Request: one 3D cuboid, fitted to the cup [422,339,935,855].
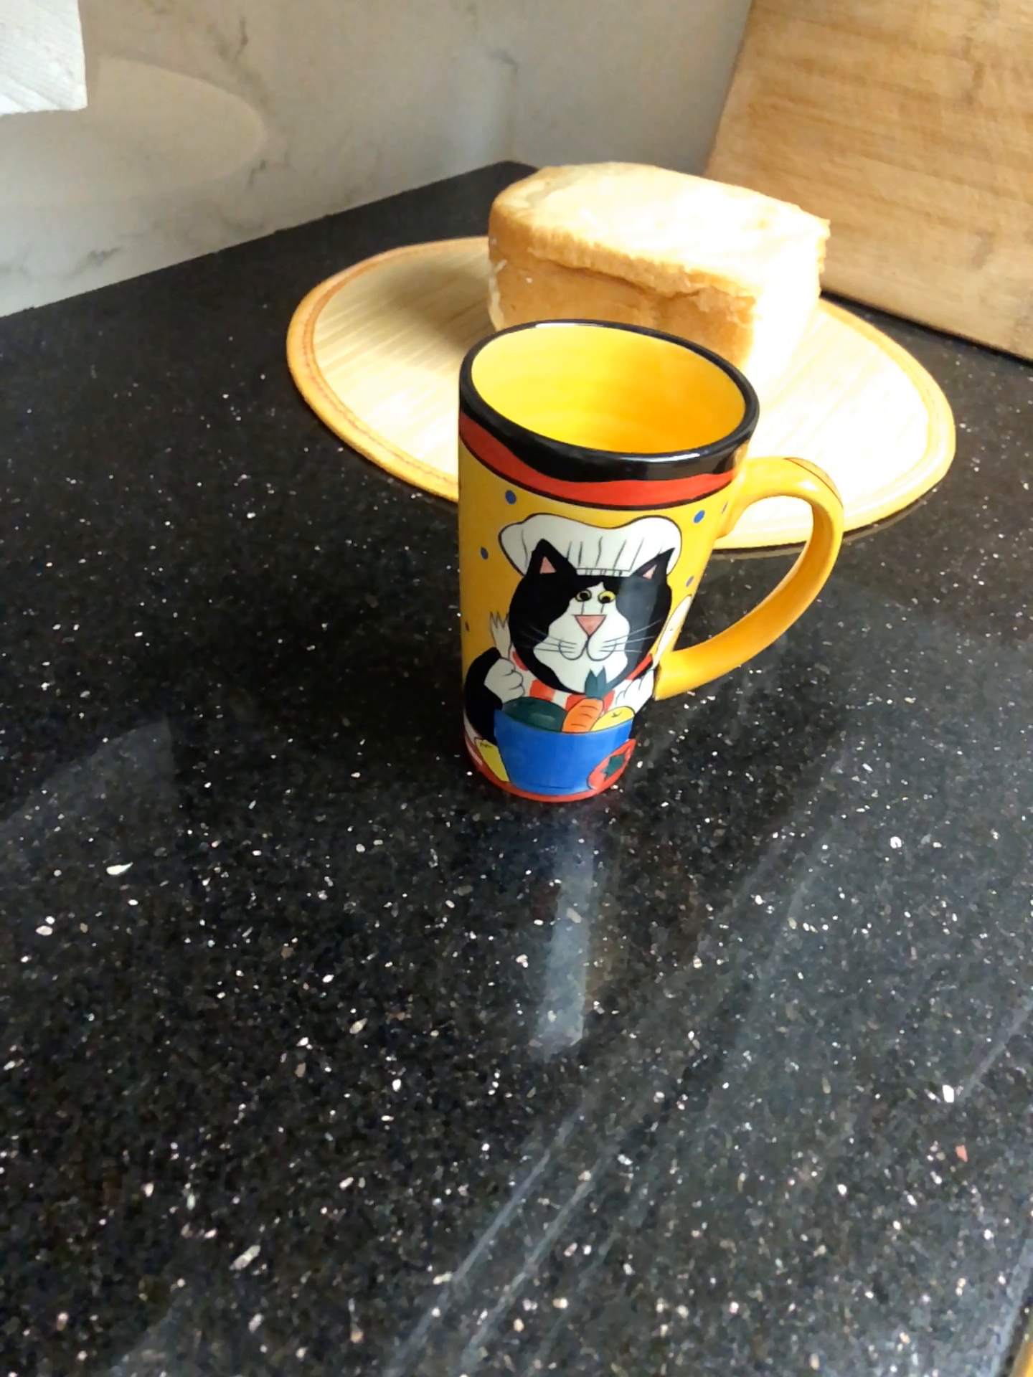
[{"bbox_3d":[0.038,-0.028,0.377,0.130,0.139,0.090,0,40,-8],"label":"cup"}]
